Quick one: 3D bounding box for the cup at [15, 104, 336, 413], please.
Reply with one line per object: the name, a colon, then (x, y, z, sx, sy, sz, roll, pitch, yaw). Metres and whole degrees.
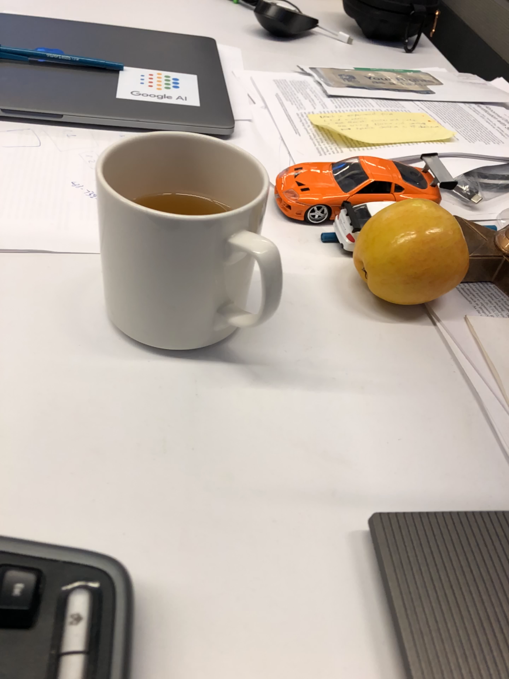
cup: (-0.040, -0.045, 0.275, 0.120, 0.080, 0.080, 35, 48, 24)
